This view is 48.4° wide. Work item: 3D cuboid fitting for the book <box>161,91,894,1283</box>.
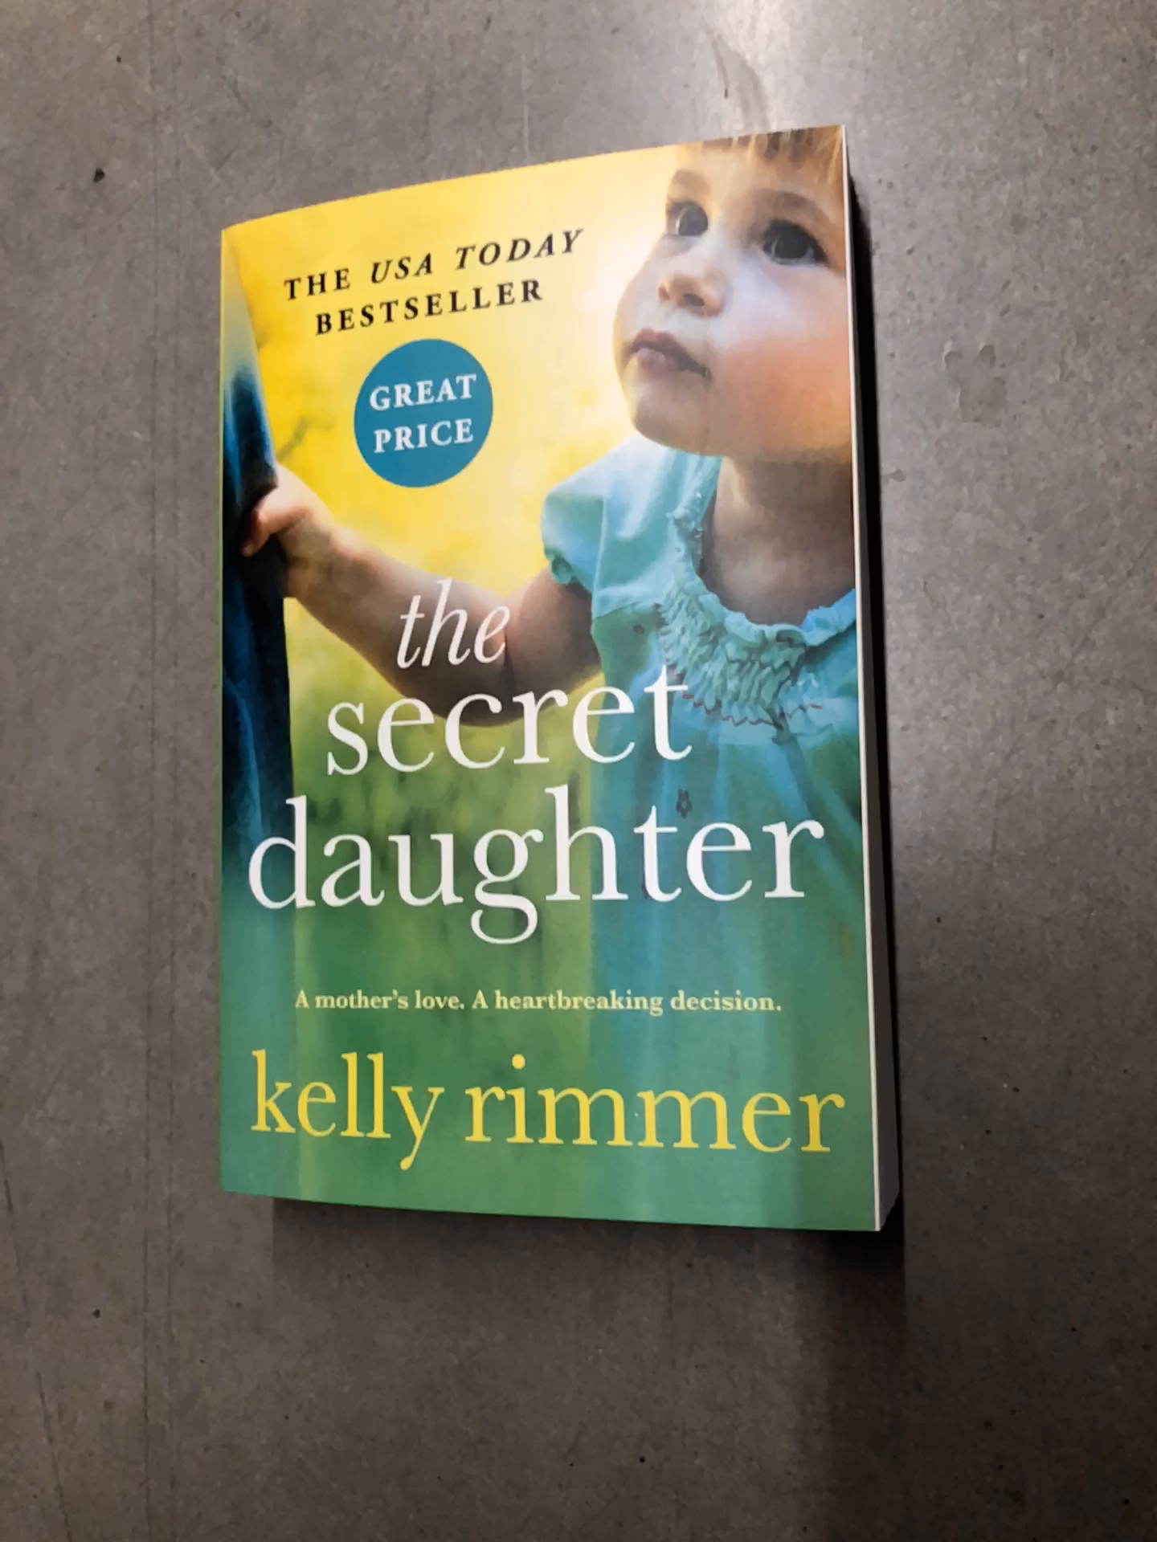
[{"bbox_3d":[-0.013,-0.015,0.258,0.140,0.030,0.210,-2,85,16],"label":"book"}]
